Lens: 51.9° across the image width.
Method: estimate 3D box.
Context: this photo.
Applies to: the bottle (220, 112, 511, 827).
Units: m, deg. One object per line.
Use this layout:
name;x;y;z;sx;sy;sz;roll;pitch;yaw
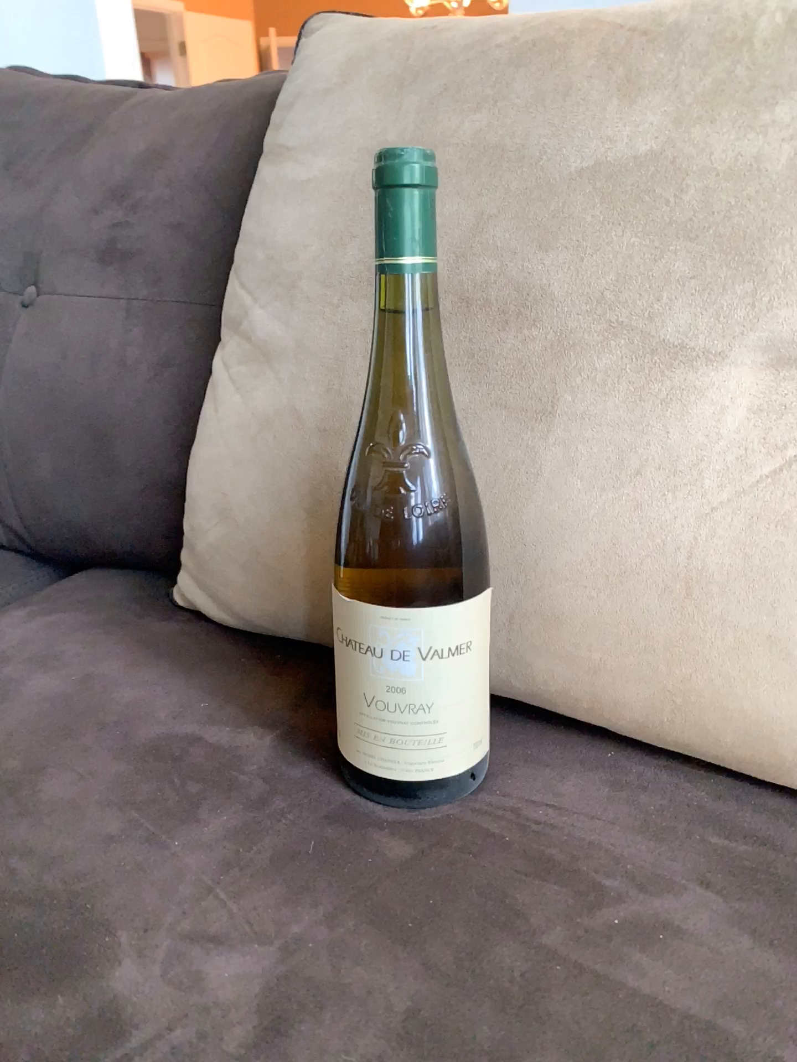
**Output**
bottle;-0.001;-0.020;0.389;0.100;0.309;0.090;2;22;12
